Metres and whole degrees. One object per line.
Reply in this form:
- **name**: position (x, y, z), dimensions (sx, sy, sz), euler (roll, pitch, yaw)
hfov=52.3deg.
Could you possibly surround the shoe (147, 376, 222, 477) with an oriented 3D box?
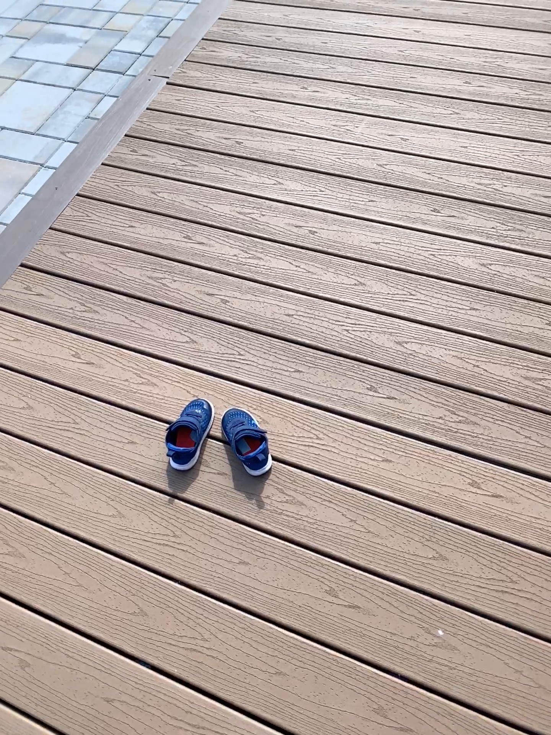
- **shoe**: position (-0.180, 0.117, 1.138), dimensions (0.080, 0.090, 0.170), euler (9, 59, 13)

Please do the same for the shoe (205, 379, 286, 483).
- **shoe**: position (-0.060, 0.127, 1.125), dimensions (0.080, 0.090, 0.171), euler (-28, 58, -11)
